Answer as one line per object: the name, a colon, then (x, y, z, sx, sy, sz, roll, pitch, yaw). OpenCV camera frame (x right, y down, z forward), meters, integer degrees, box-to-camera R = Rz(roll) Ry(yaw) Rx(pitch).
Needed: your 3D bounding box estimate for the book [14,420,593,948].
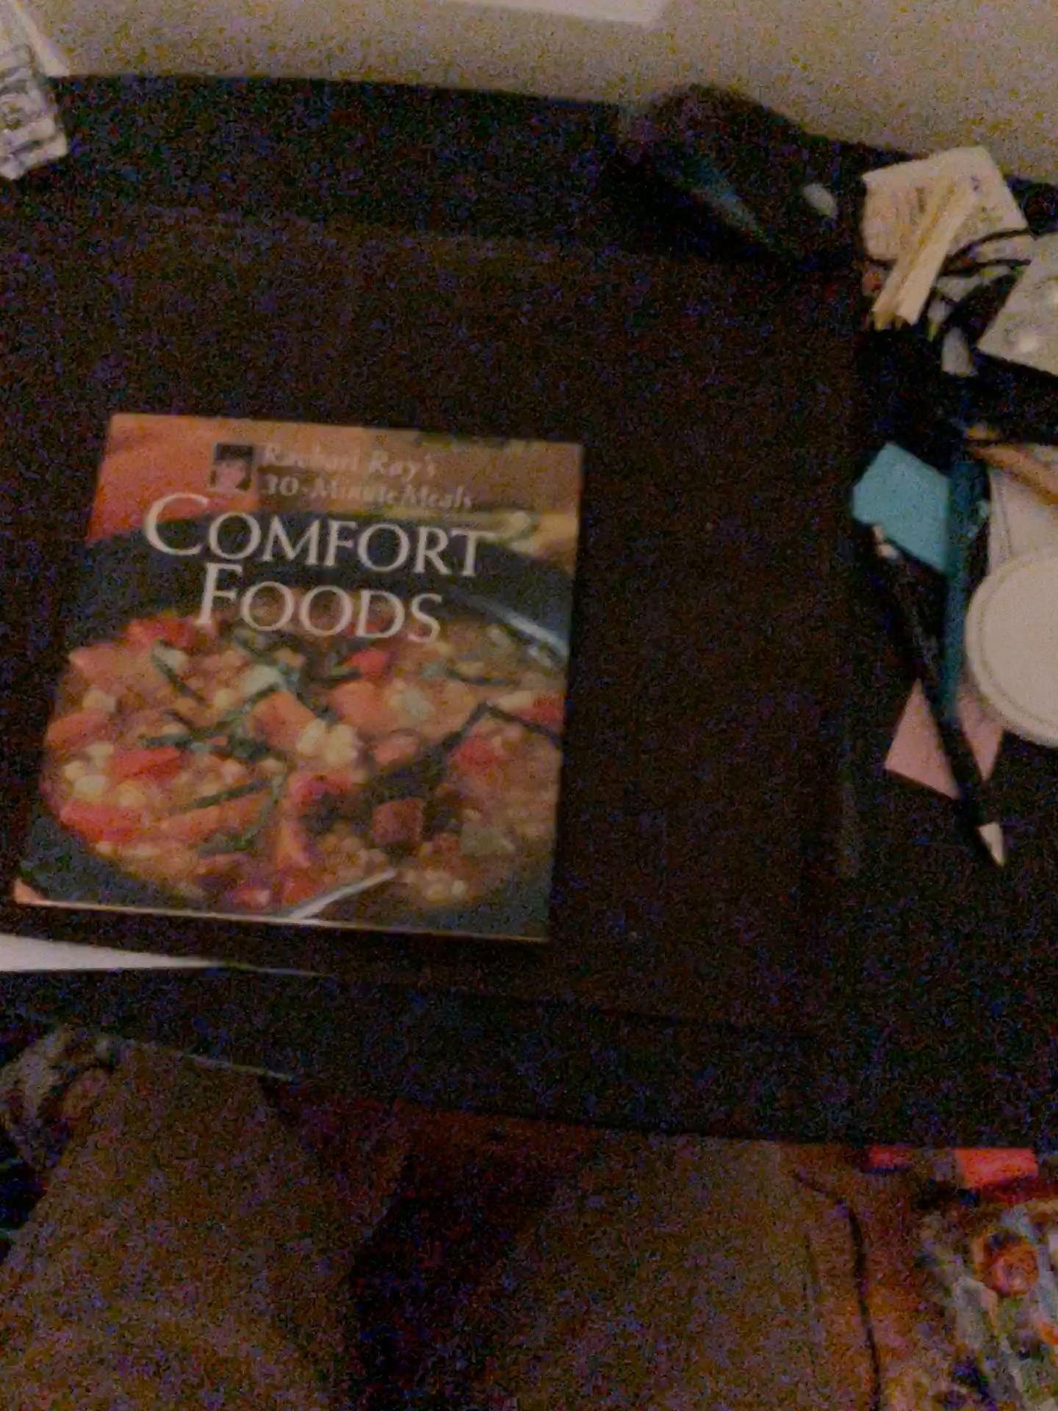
book: (-0.080, -0.014, 0.435, 0.200, 0.020, 0.200, 4, 73, 3)
